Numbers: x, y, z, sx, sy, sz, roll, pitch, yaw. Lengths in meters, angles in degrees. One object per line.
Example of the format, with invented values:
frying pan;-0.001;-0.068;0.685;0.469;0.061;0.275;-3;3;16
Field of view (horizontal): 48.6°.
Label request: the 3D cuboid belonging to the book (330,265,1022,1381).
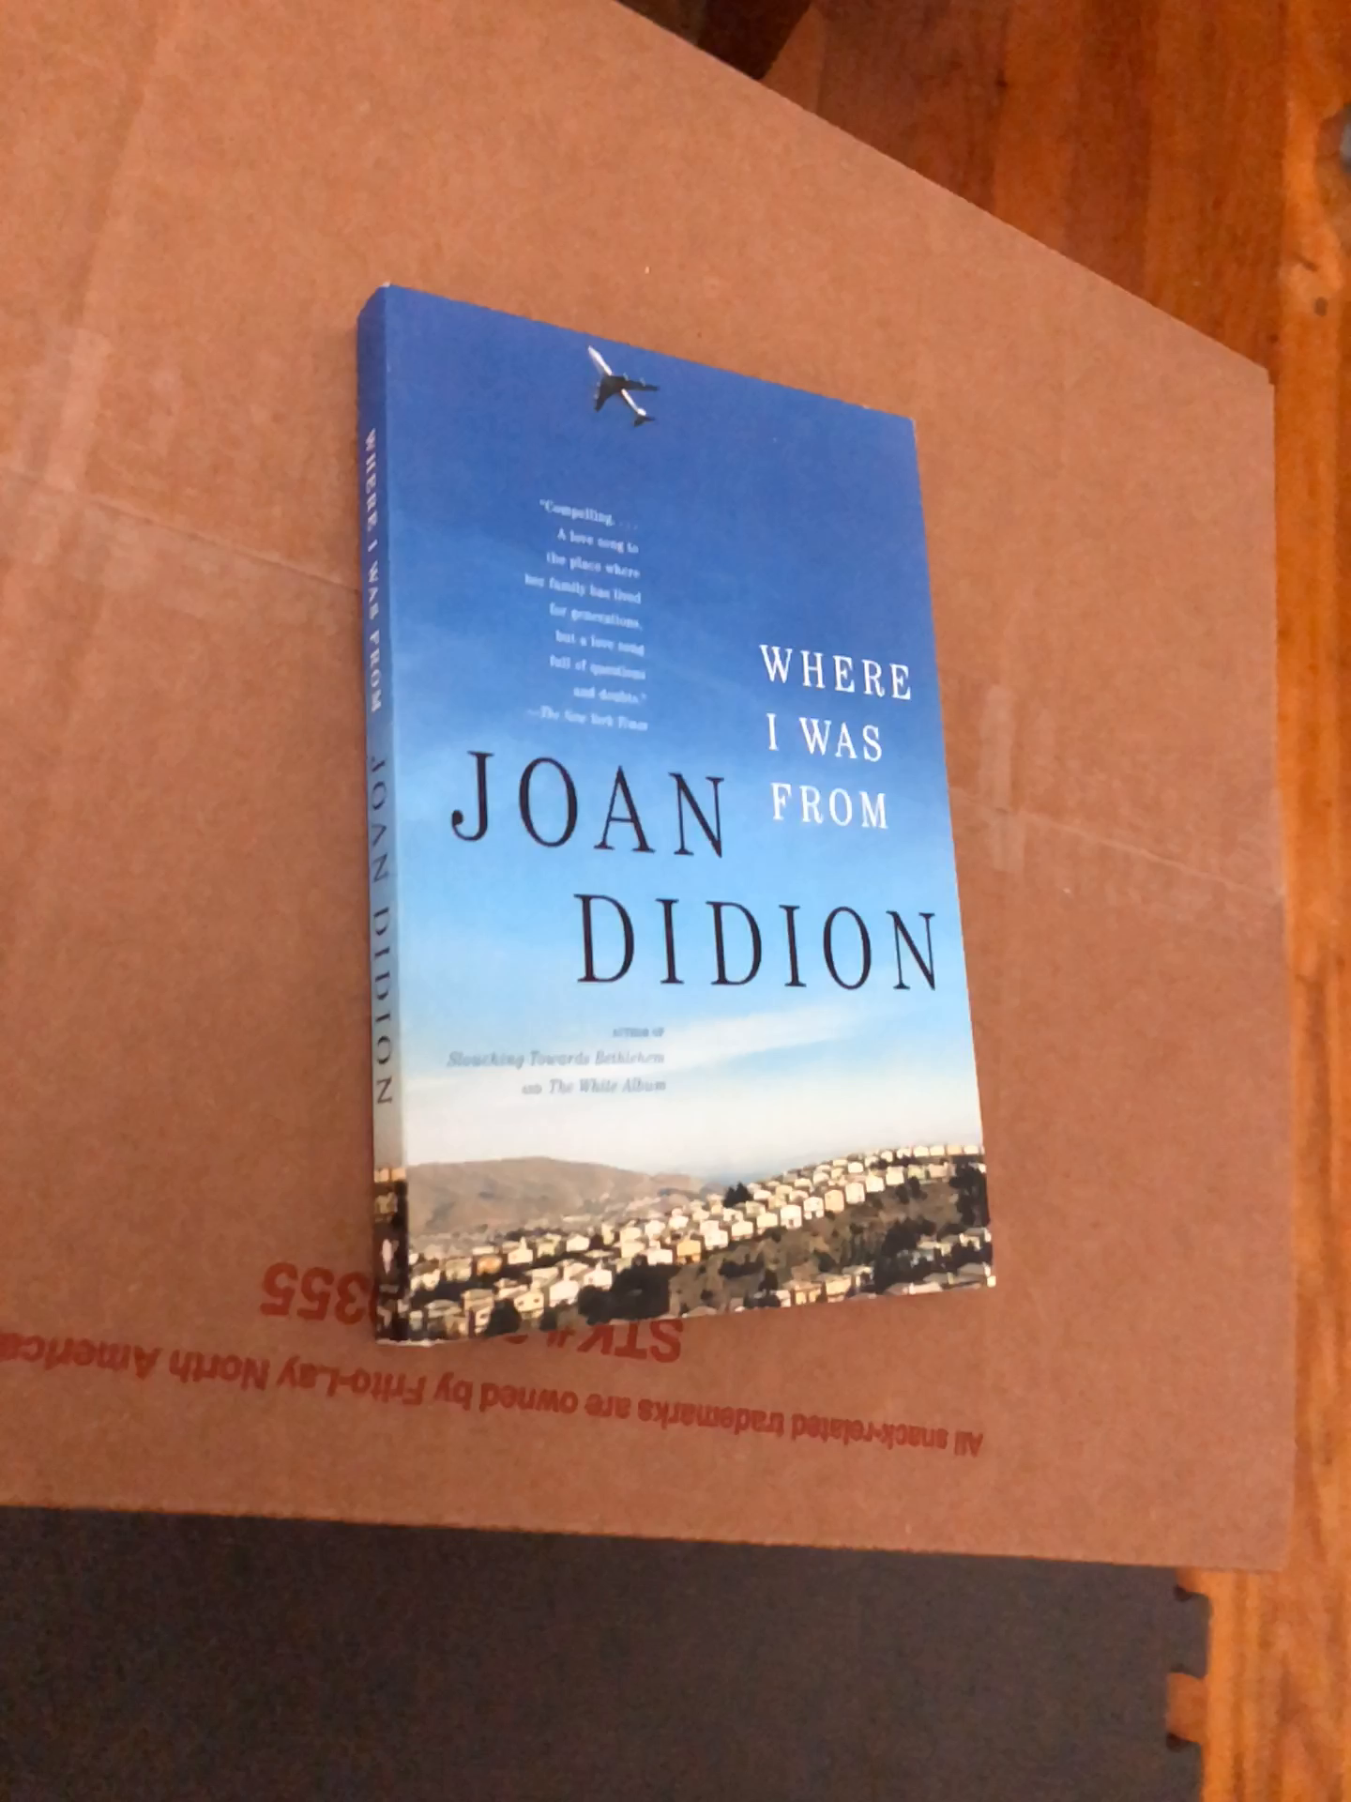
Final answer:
book;0.001;-0.017;0.315;0.140;0.020;0.210;3;76;-29
